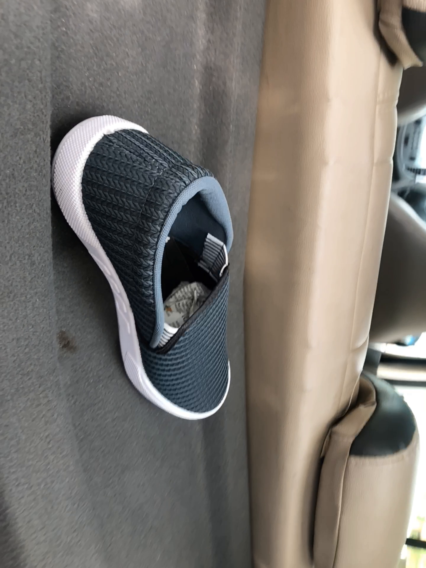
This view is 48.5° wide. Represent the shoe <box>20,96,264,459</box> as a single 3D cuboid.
[{"bbox_3d":[-0.031,0.011,0.366,0.080,0.089,0.281,-54,145,-40],"label":"shoe"}]
